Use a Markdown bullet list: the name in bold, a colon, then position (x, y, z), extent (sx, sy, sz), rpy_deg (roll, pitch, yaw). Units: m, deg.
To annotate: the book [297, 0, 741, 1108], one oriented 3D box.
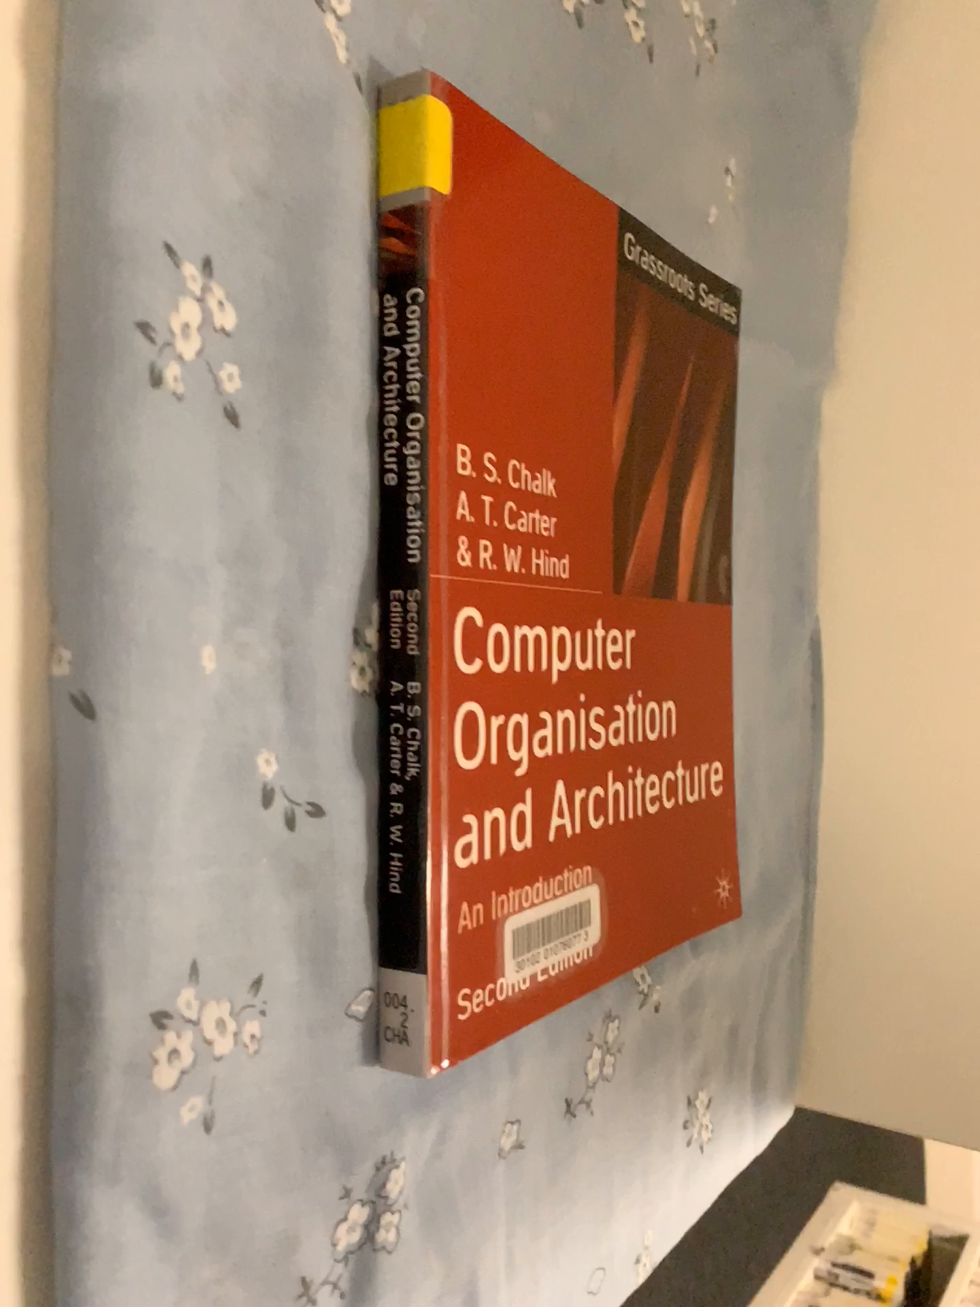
- **book**: position (0.026, -0.030, 0.328), extent (0.211, 0.030, 0.270), rpy_deg (1, 88, -54)
